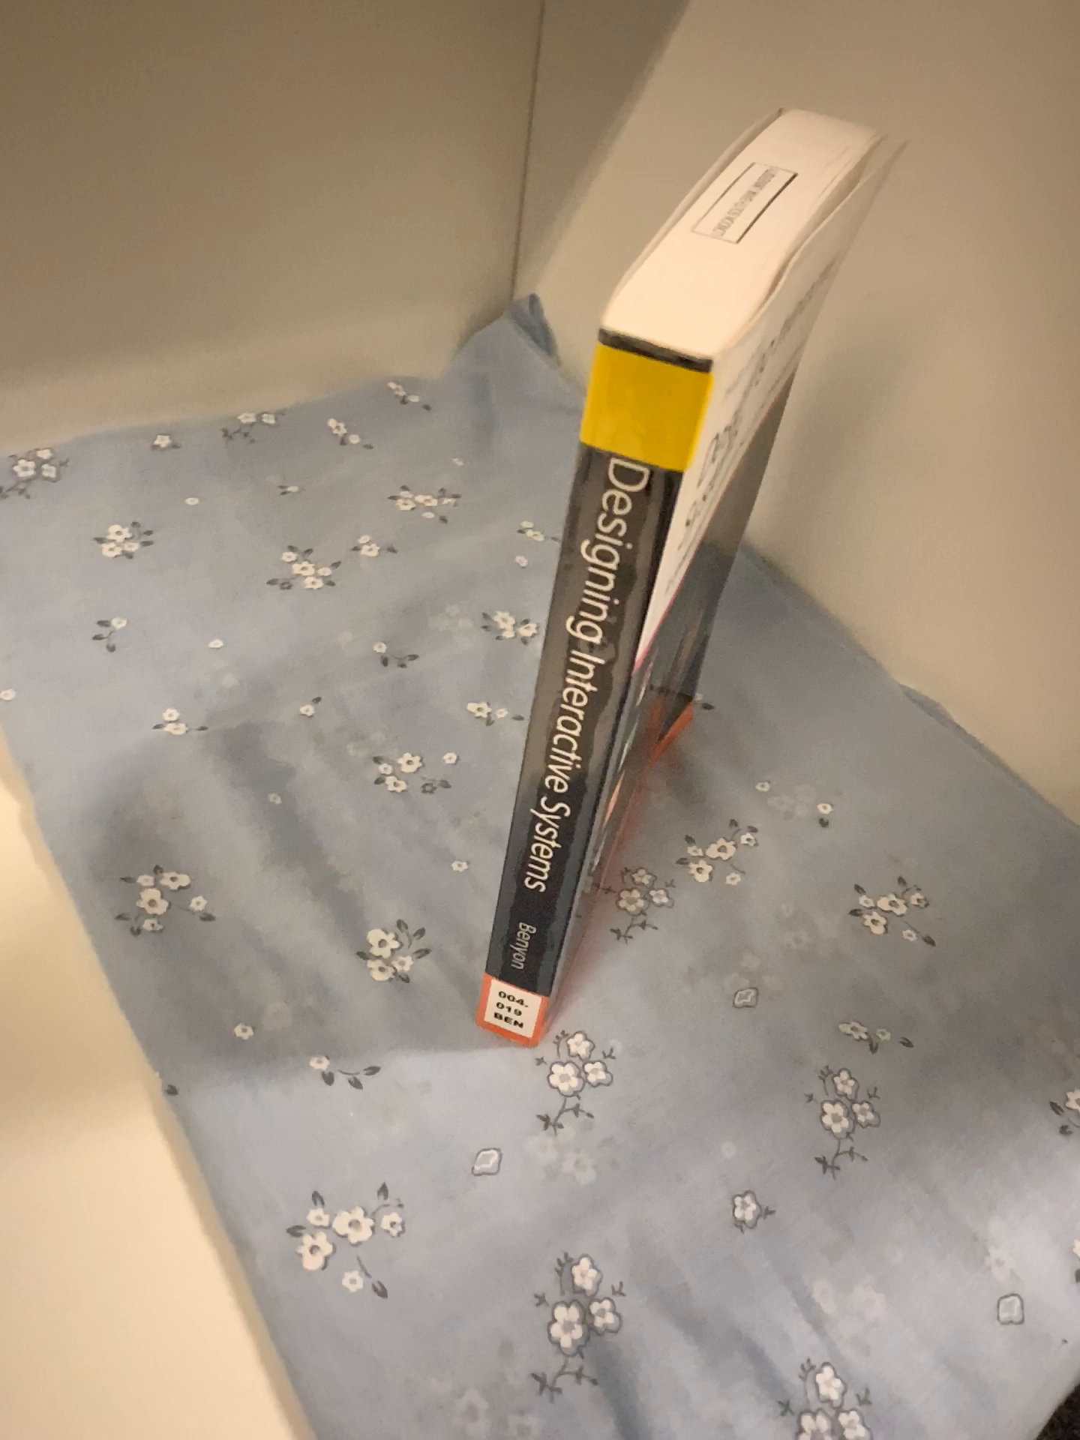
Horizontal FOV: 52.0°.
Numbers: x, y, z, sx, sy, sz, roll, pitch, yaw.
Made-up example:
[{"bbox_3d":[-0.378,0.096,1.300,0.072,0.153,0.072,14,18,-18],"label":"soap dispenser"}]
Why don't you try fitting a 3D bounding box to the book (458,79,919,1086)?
[{"bbox_3d":[0.047,-0.042,0.376,0.041,0.269,0.217,20,43,9],"label":"book"}]
